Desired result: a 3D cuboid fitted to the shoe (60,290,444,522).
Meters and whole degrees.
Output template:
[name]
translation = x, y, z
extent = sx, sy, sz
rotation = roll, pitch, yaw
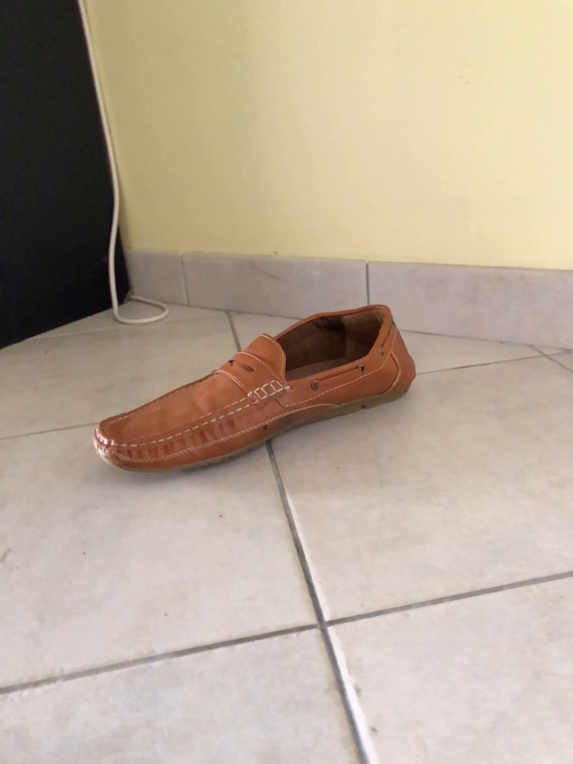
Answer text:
[shoe]
translation = -0.021, 0.001, 0.517
extent = 0.281, 0.070, 0.130
rotation = -18, 27, -27
